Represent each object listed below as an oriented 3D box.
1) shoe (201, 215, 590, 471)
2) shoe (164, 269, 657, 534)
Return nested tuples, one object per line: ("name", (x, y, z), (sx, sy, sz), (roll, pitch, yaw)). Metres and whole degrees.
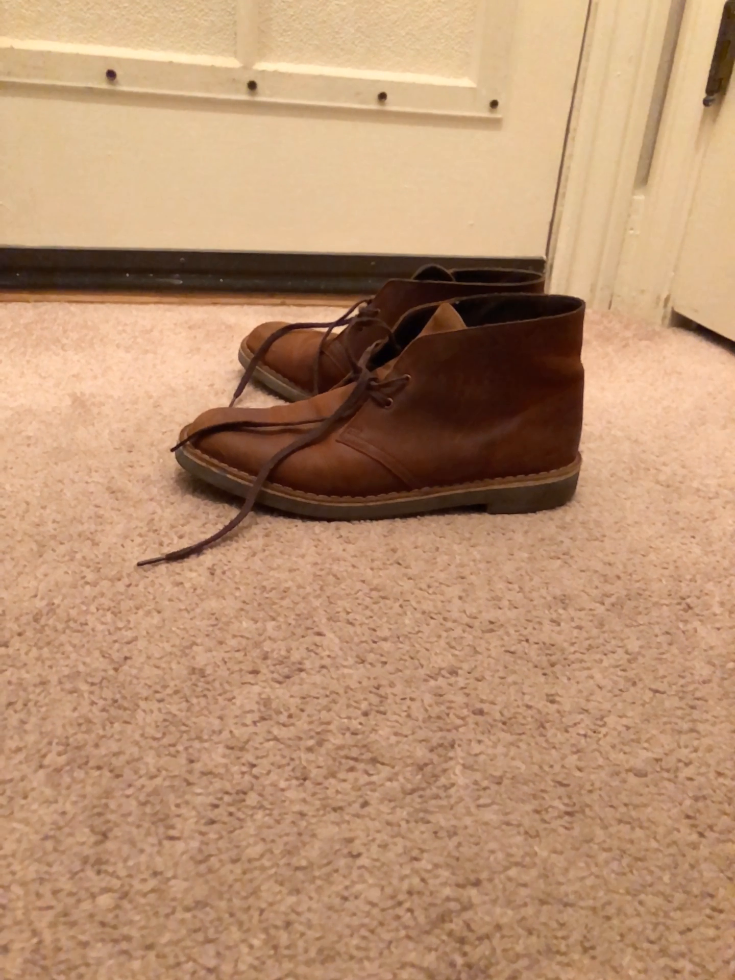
("shoe", (0.015, -0.137, 0.696), (0.303, 0.138, 0.111), (17, 29, 22))
("shoe", (0.020, -0.066, 0.558), (0.303, 0.138, 0.111), (-2, 28, -14))
